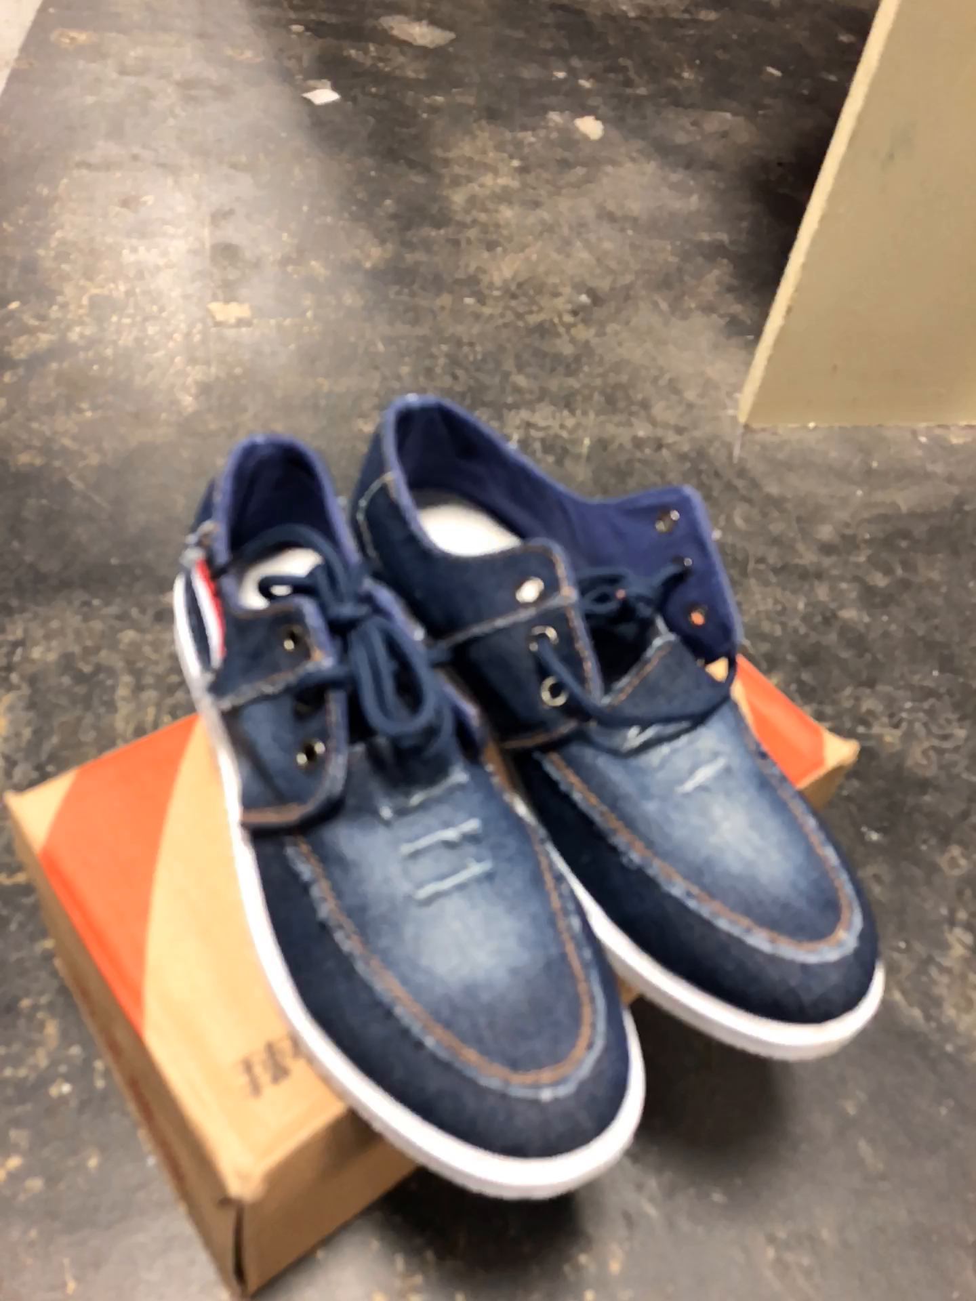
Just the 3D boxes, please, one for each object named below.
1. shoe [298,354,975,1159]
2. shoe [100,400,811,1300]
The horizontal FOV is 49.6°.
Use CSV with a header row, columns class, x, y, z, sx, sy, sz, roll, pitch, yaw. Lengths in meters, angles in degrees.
class,x,y,z,sx,sy,sz,roll,pitch,yaw
shoe,0.041,0.012,0.366,0.100,0.079,0.271,-20,54,-28
shoe,-0.032,0.036,0.315,0.090,0.079,0.251,-16,52,-25
